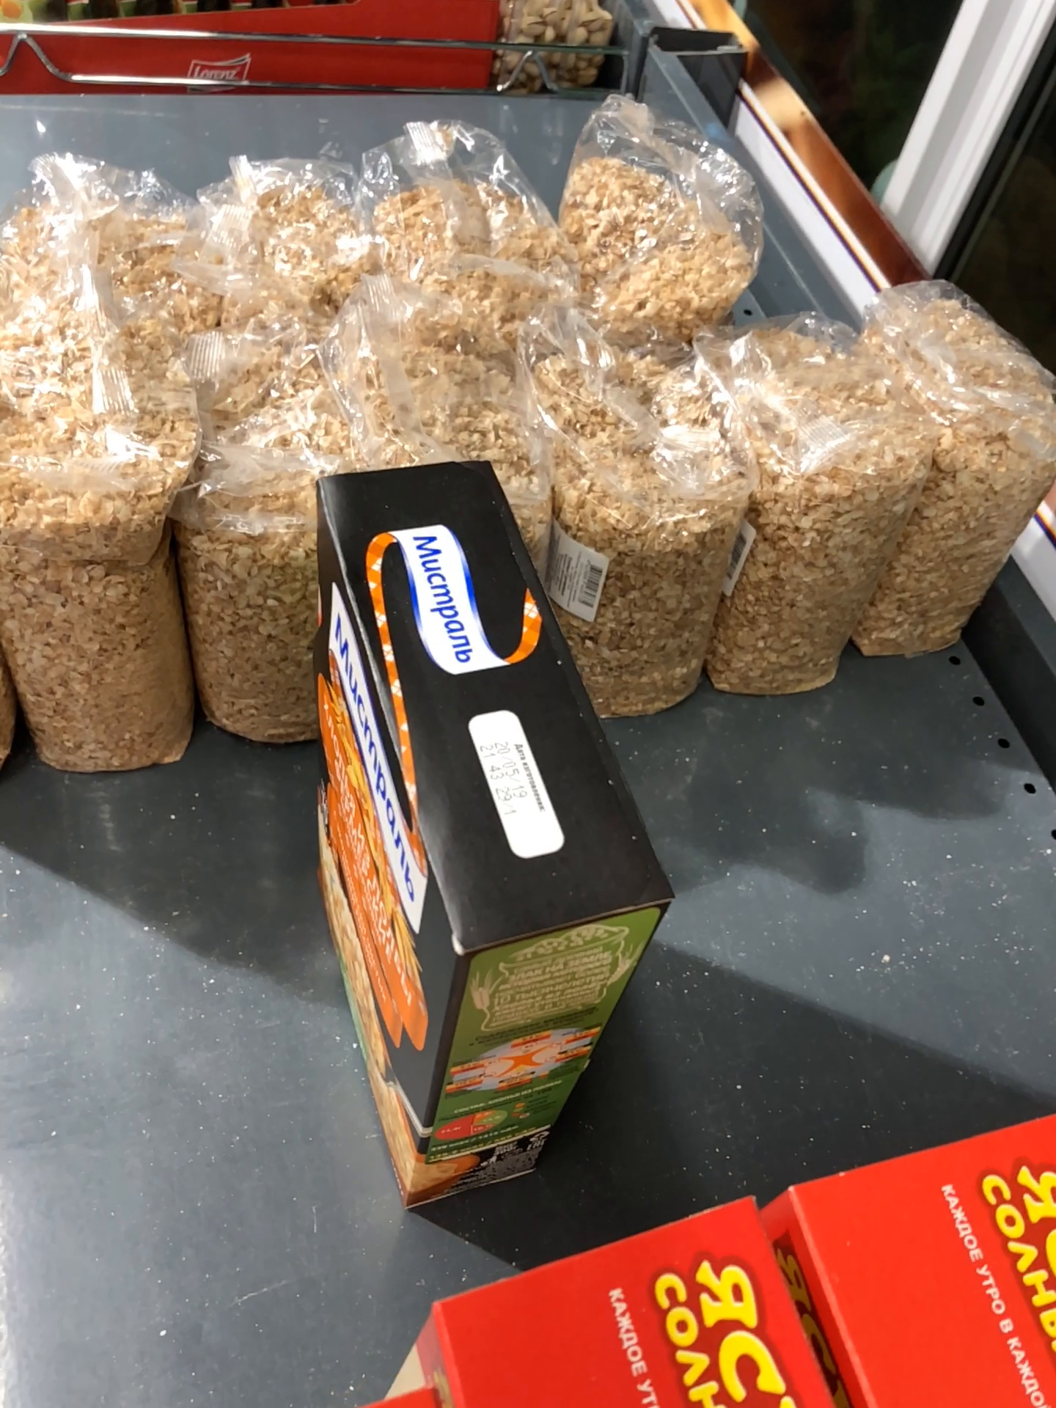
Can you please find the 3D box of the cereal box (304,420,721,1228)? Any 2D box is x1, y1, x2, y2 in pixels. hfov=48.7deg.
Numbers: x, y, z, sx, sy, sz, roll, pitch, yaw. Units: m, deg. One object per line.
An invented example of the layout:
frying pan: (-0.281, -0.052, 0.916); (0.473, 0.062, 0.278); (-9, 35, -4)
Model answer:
cereal box: (-0.023, 0.048, 0.337); (0.050, 0.209, 0.140); (-11, 57, -17)
